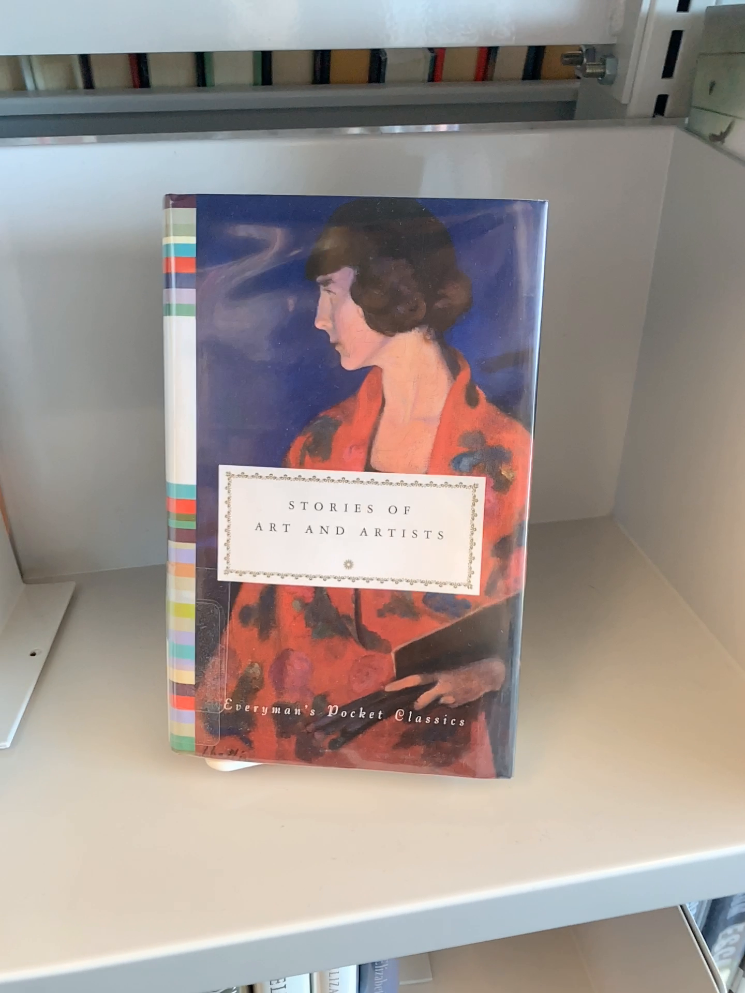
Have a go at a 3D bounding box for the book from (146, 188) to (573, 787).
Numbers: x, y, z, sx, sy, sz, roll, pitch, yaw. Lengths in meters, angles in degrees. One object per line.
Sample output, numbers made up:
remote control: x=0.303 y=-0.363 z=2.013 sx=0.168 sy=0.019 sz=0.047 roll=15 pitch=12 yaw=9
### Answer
book: x=-0.008 y=-0.003 z=0.267 sx=0.129 sy=0.187 sz=0.040 roll=3 pitch=10 yaw=5
